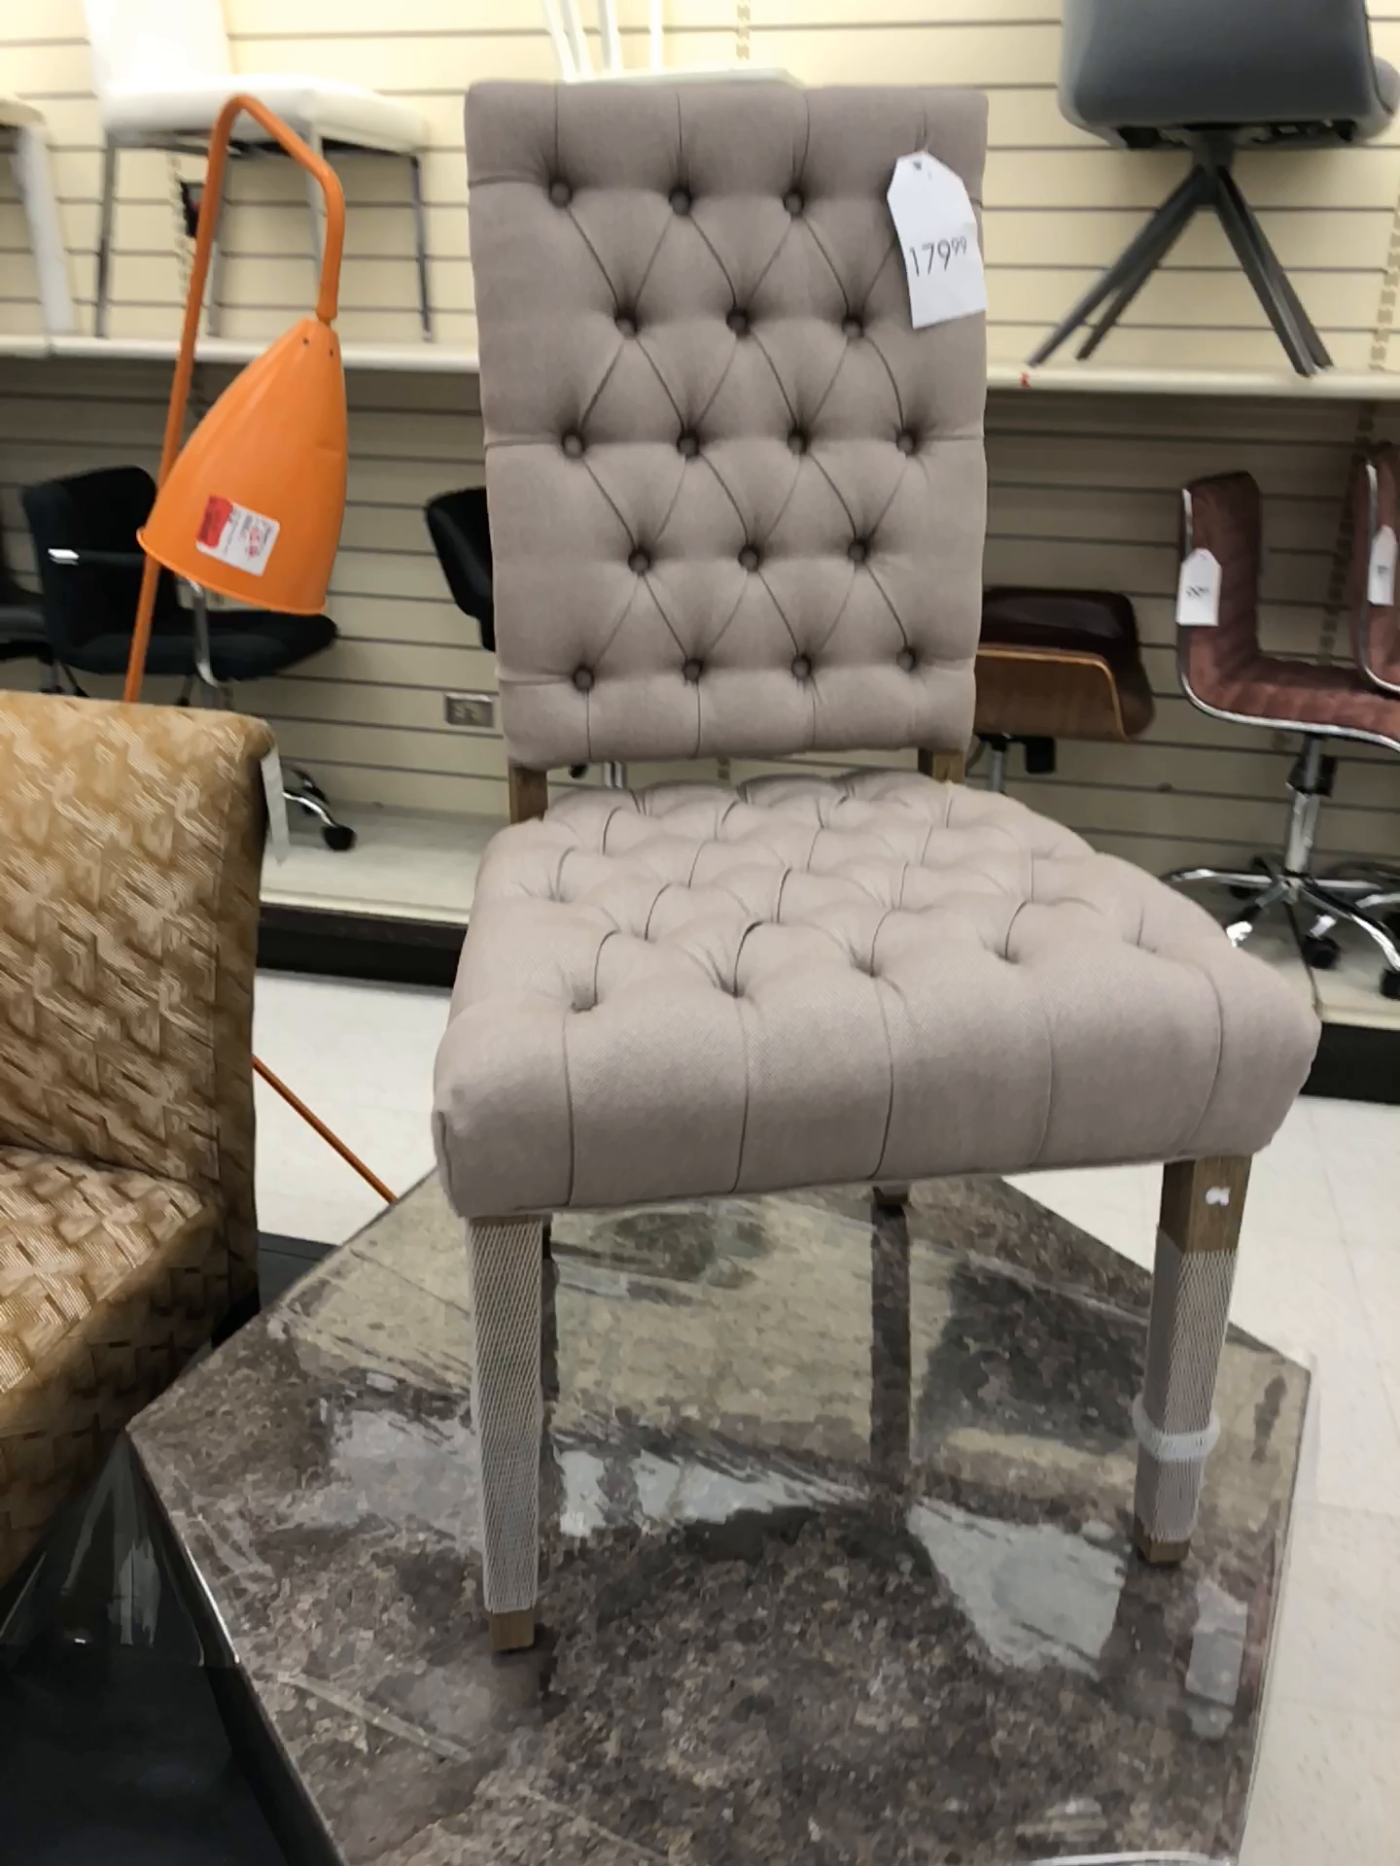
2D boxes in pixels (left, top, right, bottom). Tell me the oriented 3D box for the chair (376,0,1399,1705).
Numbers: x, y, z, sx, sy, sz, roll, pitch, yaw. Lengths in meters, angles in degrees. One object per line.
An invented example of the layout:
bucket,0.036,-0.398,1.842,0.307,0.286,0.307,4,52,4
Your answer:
chair,0.077,-0.085,1.173,0.570,1.046,0.582,-3,22,-11
